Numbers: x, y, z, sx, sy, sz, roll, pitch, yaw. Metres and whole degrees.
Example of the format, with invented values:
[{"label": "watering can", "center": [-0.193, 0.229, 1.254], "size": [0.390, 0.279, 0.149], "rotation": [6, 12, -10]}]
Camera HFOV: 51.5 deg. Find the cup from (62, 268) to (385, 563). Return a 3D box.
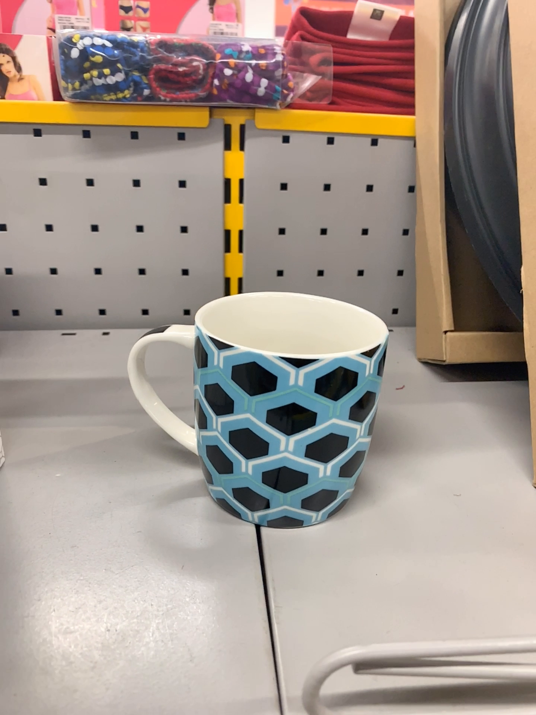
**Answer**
[{"label": "cup", "center": [-0.013, 0.018, 0.263], "size": [0.120, 0.090, 0.090], "rotation": [7, 24, 12]}]
